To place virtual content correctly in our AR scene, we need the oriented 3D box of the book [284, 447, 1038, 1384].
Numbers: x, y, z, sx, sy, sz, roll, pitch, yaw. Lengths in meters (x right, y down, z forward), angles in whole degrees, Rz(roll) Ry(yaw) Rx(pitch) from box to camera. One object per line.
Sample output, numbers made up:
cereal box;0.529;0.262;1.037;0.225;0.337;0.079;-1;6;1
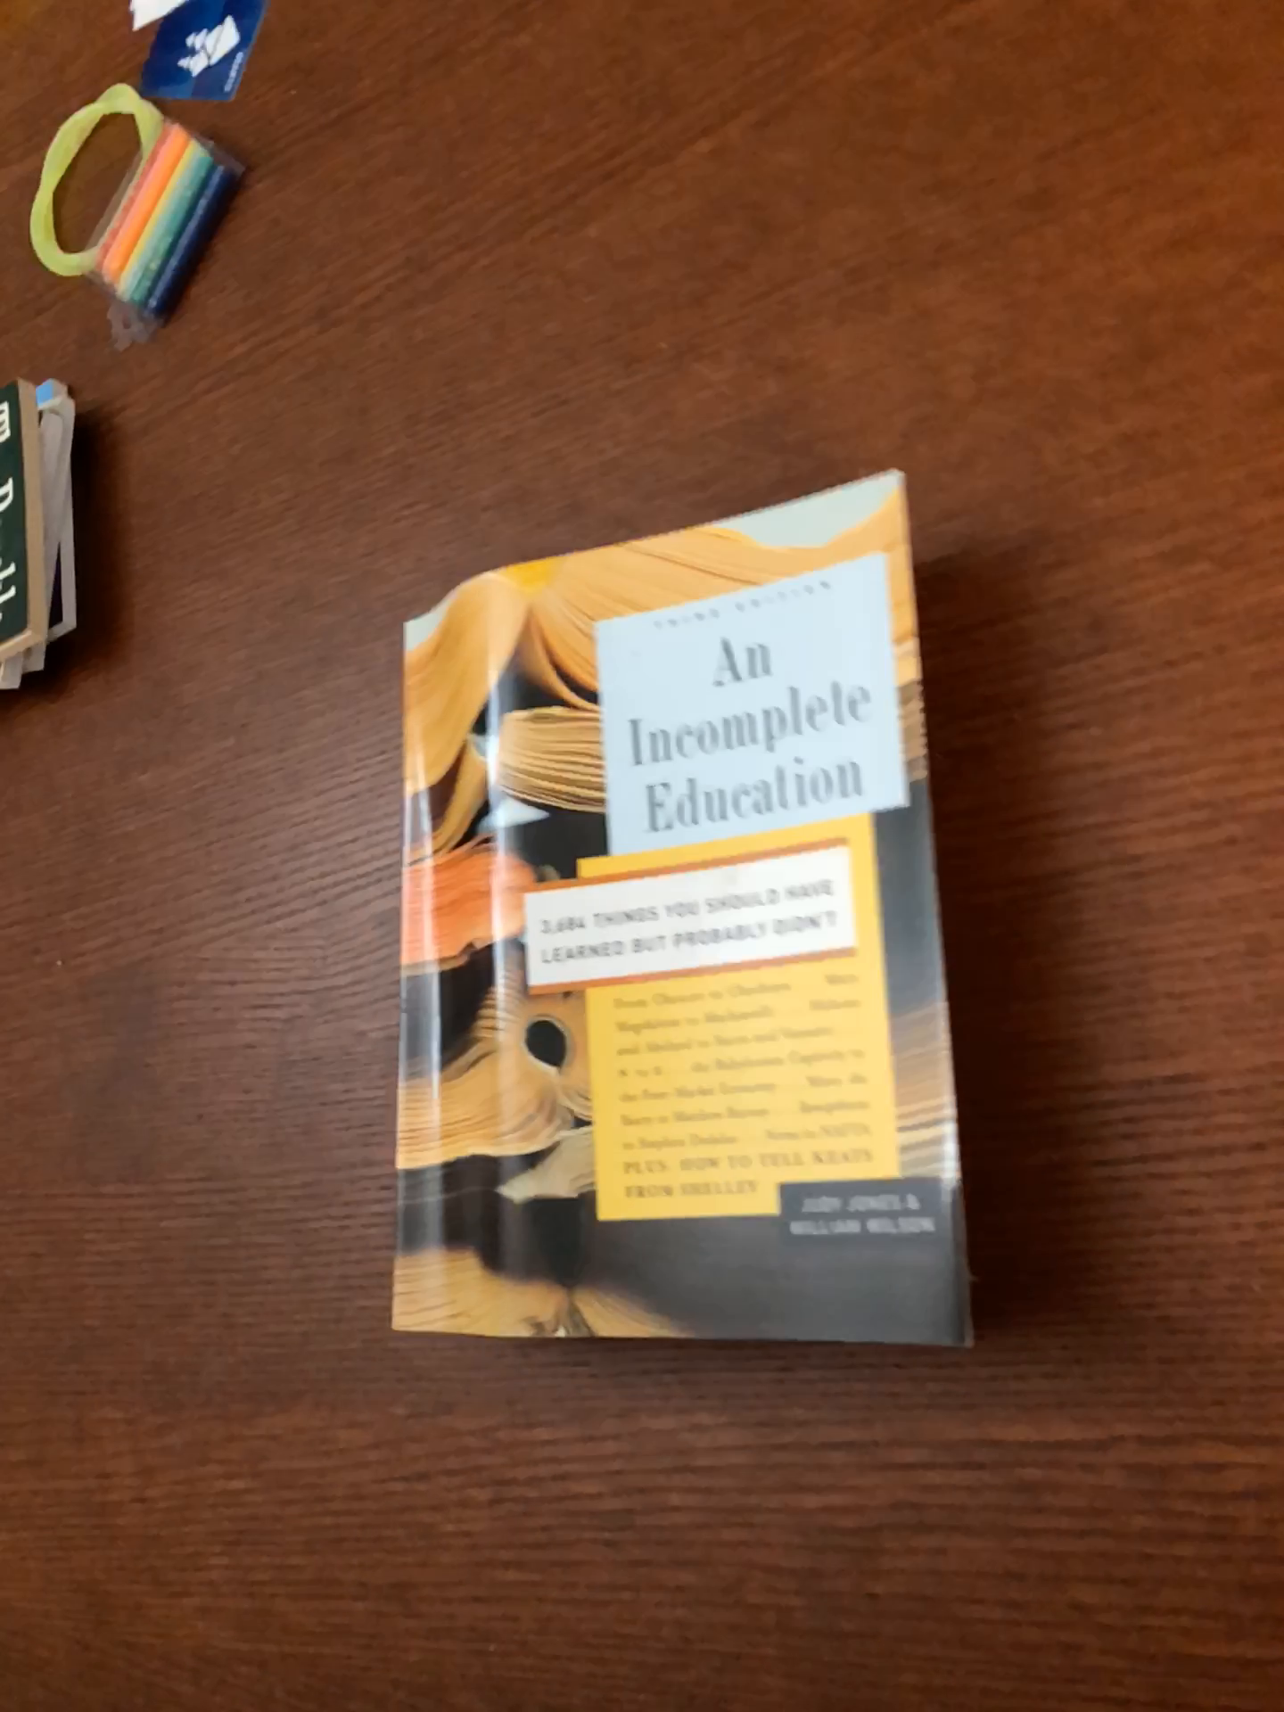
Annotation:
book;-0.005;0.026;0.436;0.210;0.060;0.250;-9;74;23
